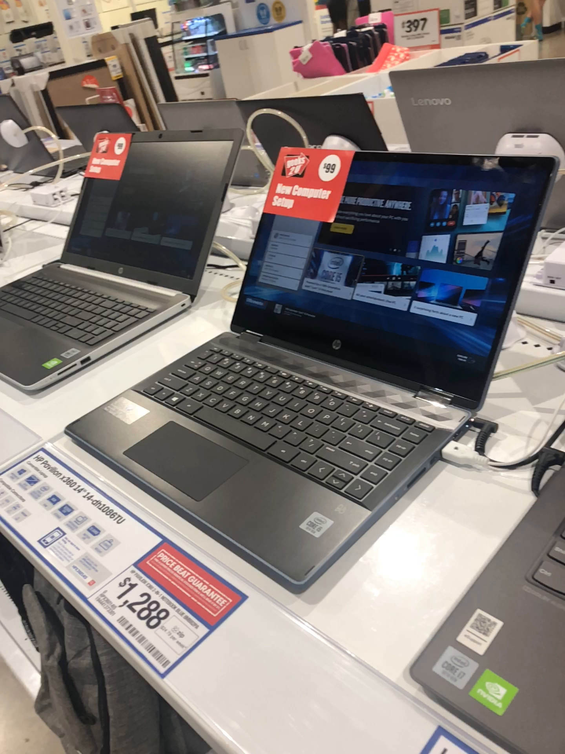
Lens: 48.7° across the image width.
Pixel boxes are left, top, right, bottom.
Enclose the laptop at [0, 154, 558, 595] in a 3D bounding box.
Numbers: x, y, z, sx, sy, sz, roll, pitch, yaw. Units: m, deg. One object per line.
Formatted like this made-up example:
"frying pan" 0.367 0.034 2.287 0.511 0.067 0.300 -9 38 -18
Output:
"laptop" 0.000 -0.057 0.545 0.315 0.165 0.349 20 43 41
